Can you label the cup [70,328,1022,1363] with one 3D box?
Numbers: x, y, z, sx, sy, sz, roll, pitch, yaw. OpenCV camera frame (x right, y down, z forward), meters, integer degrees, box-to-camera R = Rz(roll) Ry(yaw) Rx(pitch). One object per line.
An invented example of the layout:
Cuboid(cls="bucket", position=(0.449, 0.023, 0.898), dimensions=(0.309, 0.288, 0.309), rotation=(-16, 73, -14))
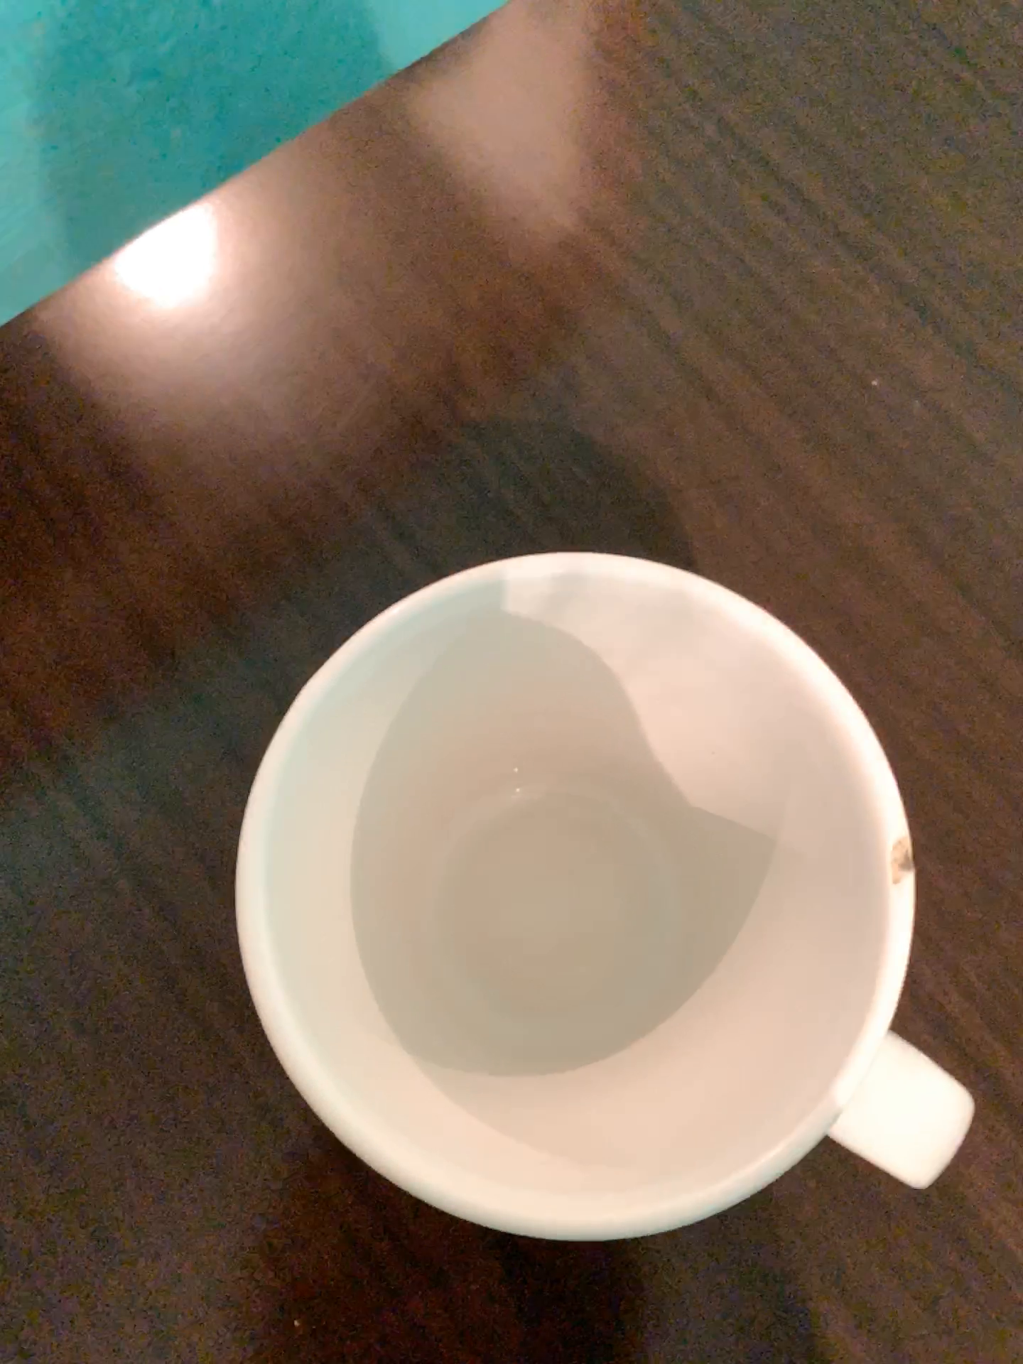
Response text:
Cuboid(cls="cup", position=(0.022, 0.031, 0.158), dimensions=(0.110, 0.080, 0.090), rotation=(33, 77, 8))
